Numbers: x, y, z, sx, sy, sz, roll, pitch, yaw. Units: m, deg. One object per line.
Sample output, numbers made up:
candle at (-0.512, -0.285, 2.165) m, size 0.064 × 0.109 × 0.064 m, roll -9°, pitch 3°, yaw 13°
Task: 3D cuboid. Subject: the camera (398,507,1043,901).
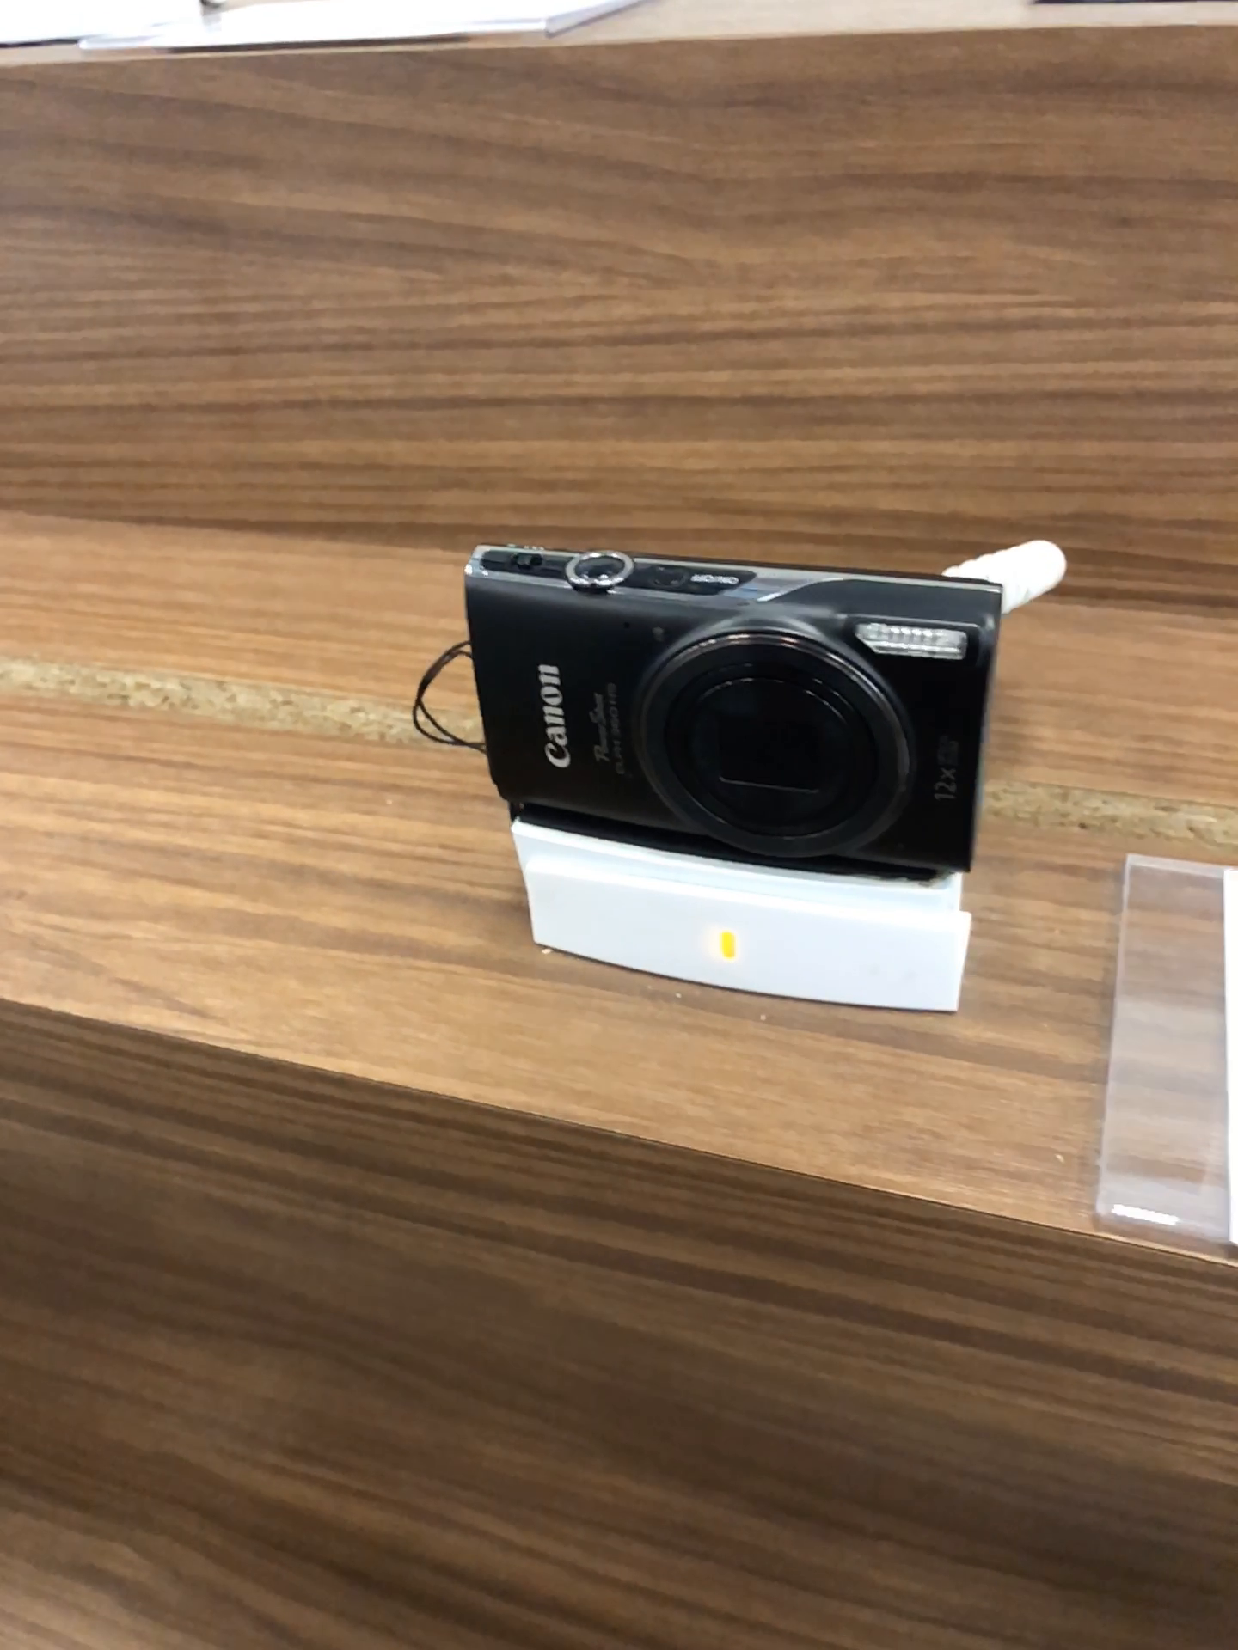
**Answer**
camera at (0.018, -0.023, 0.260) m, size 0.110 × 0.060 × 0.020 m, roll 9°, pitch 41°, yaw 17°
